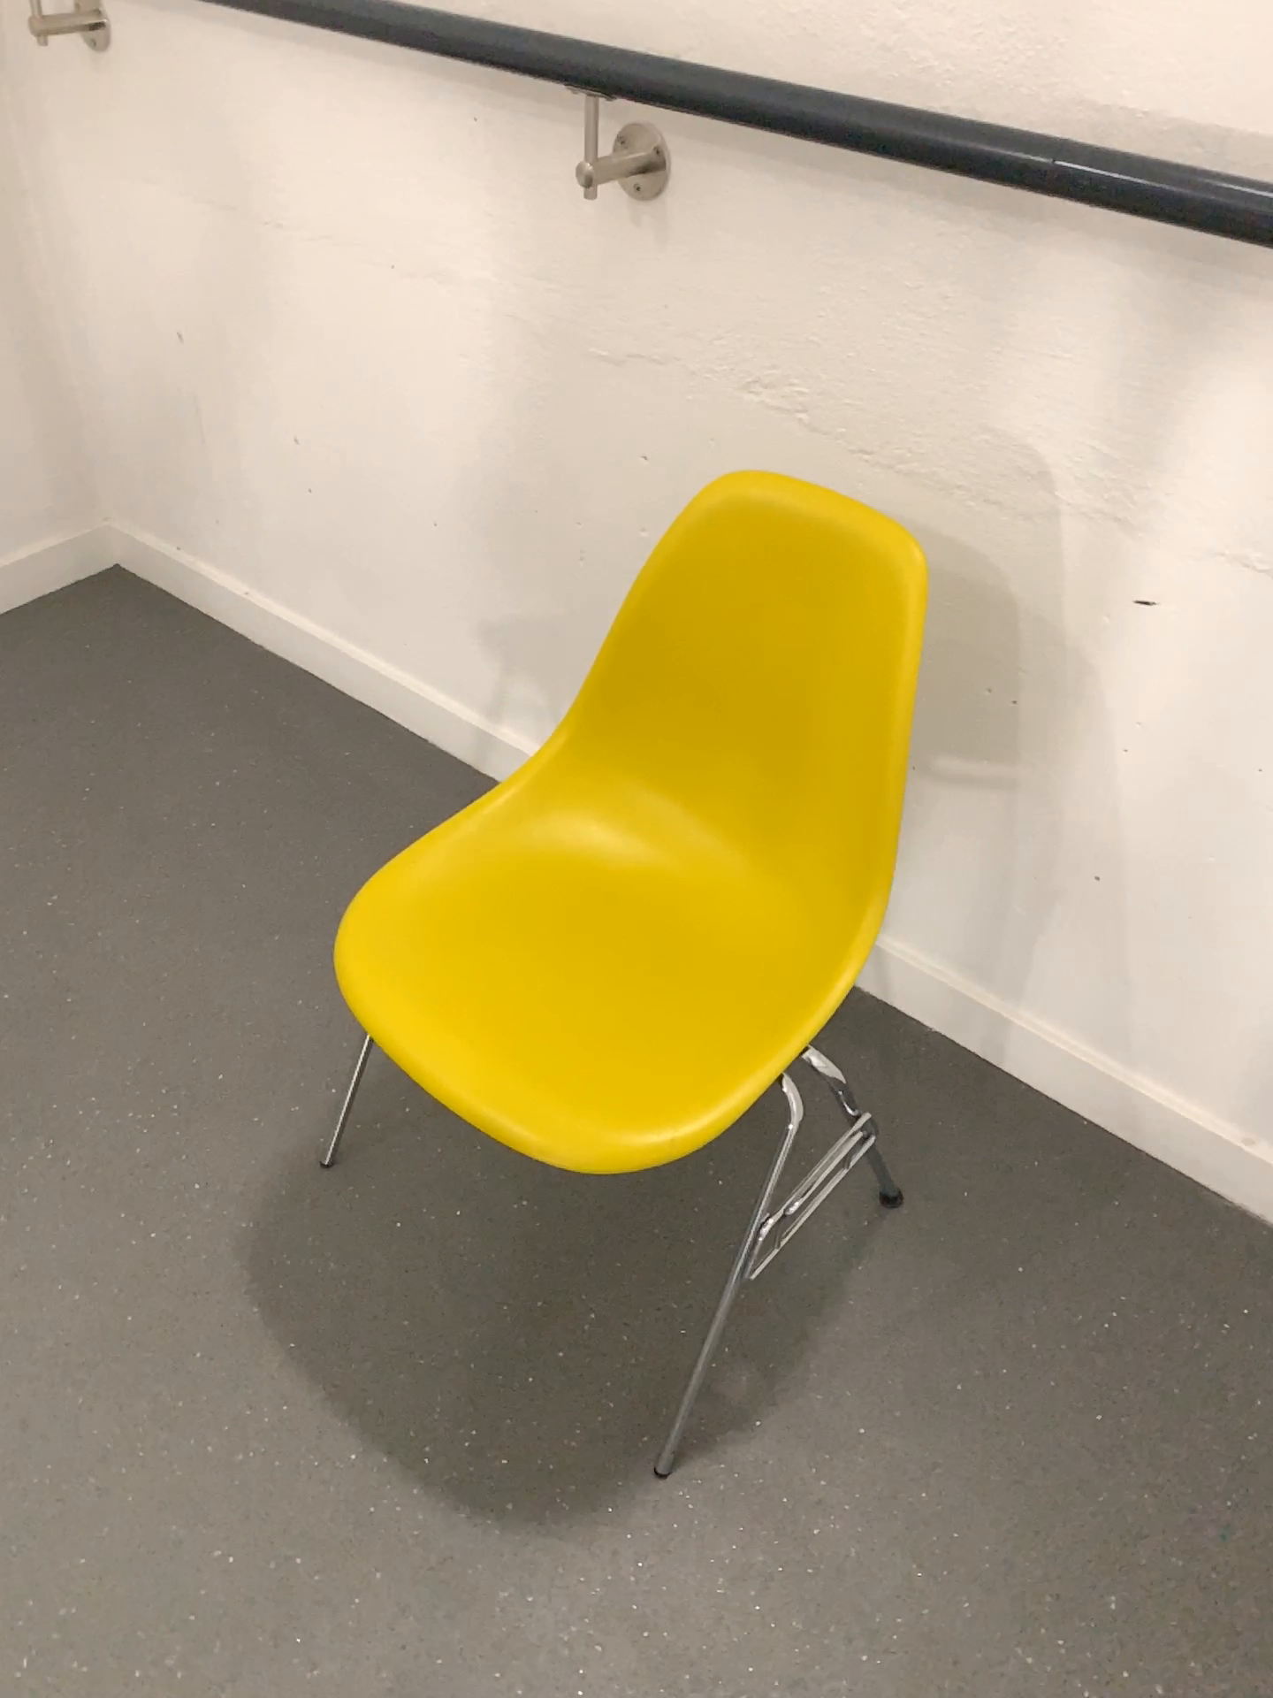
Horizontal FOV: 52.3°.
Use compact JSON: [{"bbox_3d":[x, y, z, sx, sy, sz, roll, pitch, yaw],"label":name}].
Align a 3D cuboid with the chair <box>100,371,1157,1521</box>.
[{"bbox_3d":[-0.016,0.060,1.261,0.623,0.733,0.563,31,48,29],"label":"chair"}]
